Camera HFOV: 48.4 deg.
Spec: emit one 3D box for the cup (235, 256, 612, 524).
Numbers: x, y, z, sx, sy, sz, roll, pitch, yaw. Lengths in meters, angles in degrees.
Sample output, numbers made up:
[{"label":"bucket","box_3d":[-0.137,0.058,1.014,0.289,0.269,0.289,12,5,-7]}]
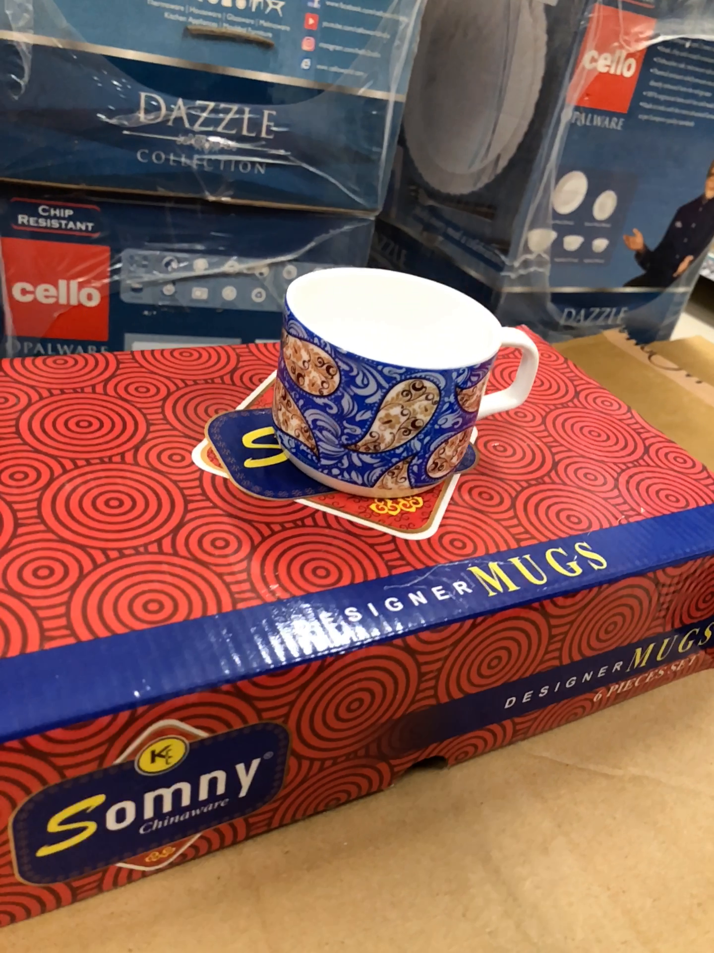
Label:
[{"label":"cup","box_3d":[0.017,-0.032,0.274,0.100,0.060,0.070,-2,34,-22]}]
